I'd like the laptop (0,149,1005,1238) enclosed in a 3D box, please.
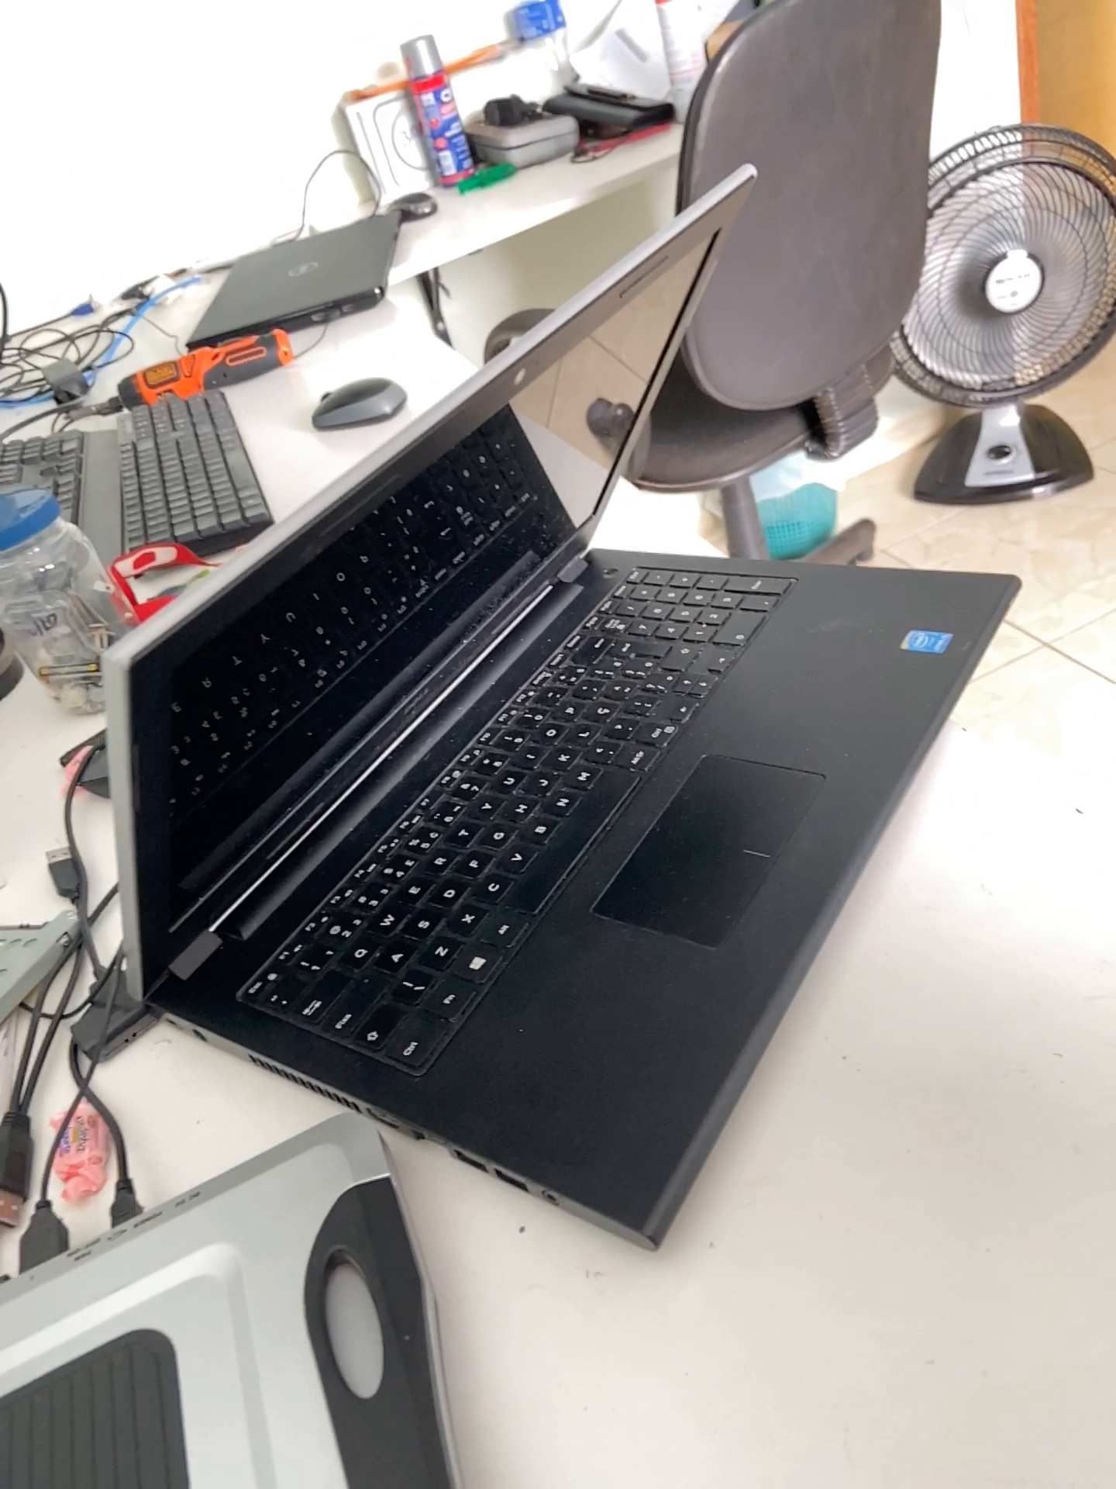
[{"bbox_3d":[-0.005,-0.063,0.477,0.257,0.204,0.375,10,44,35],"label":"laptop"}]
